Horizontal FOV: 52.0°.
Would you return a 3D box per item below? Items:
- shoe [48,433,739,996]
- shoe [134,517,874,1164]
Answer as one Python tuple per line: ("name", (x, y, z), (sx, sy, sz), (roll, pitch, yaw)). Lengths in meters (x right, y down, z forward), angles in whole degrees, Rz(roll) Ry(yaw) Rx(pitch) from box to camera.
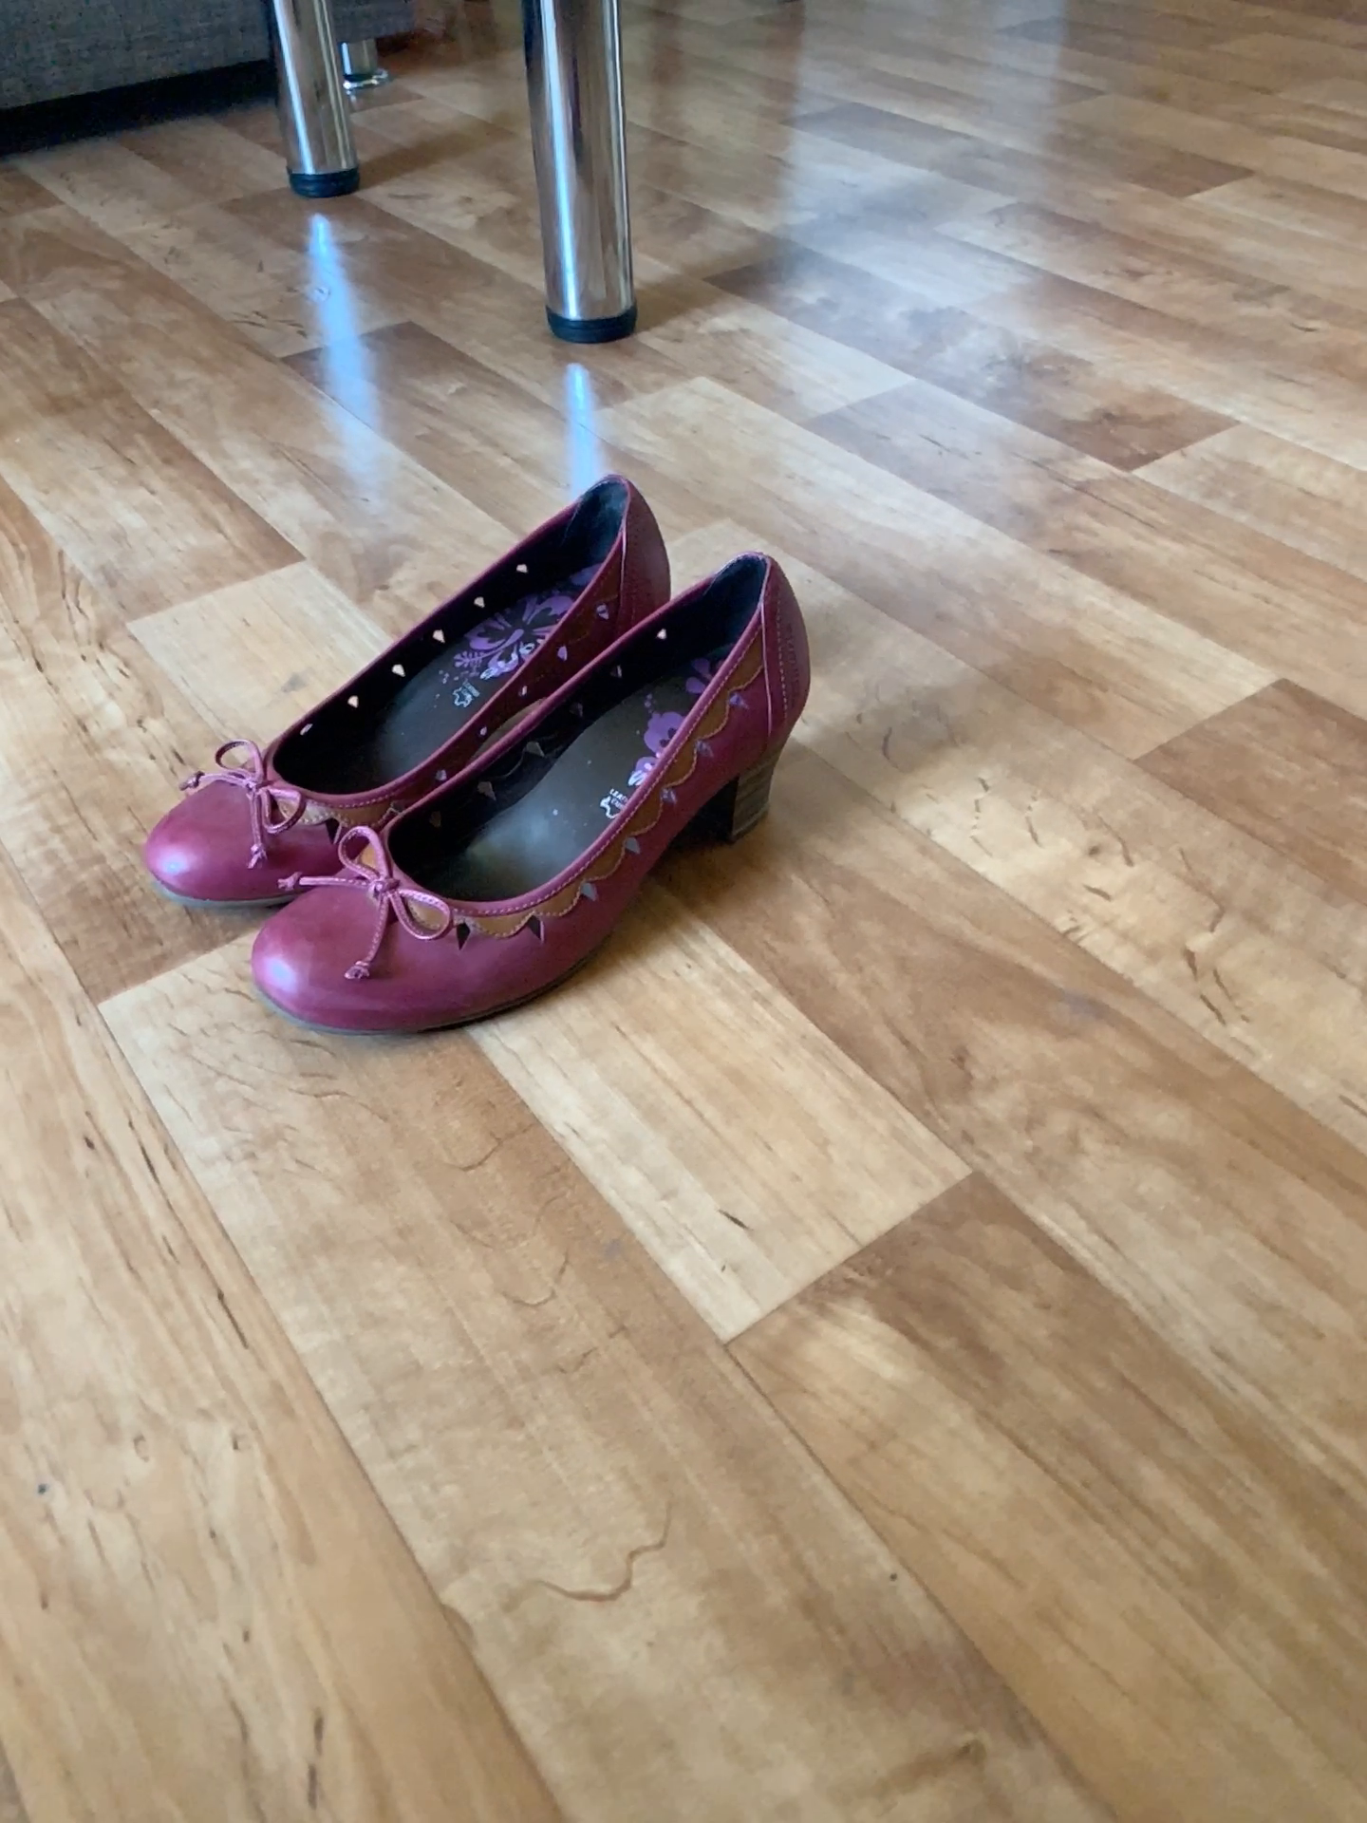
("shoe", (-0.099, -0.086, 0.555), (0.240, 0.110, 0.090), (-30, 49, -26))
("shoe", (-0.050, -0.036, 0.505), (0.240, 0.110, 0.090), (-32, 50, -27))
